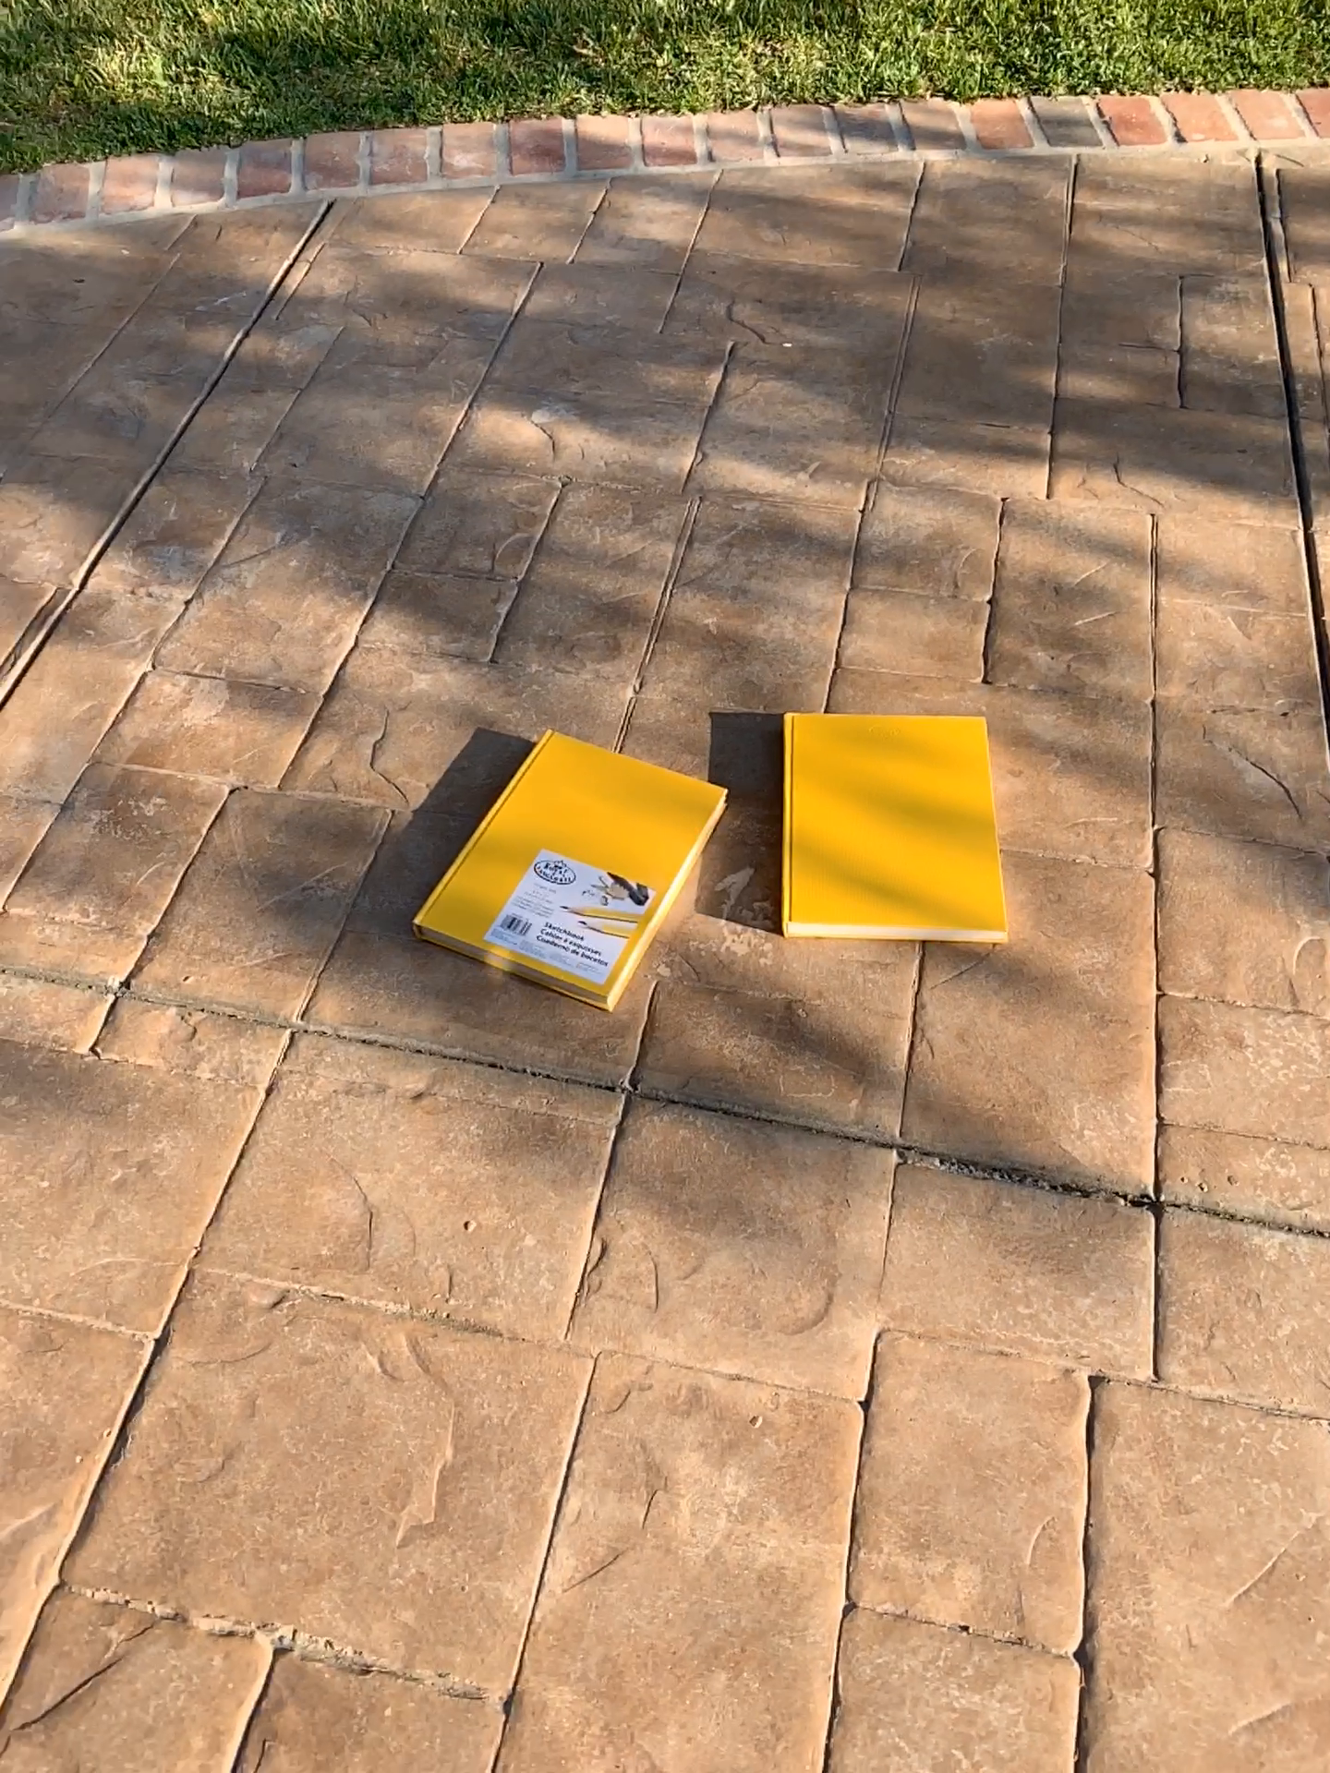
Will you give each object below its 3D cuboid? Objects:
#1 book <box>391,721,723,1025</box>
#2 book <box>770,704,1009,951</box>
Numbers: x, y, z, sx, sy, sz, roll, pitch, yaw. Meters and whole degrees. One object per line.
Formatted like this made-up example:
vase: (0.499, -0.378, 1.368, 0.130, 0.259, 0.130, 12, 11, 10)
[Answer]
book: (-0.104, -0.024, 1.397, 0.230, 0.040, 0.291, 20, 57, 16)
book: (0.228, -0.069, 1.426, 0.230, 0.040, 0.291, 2, 54, 4)
